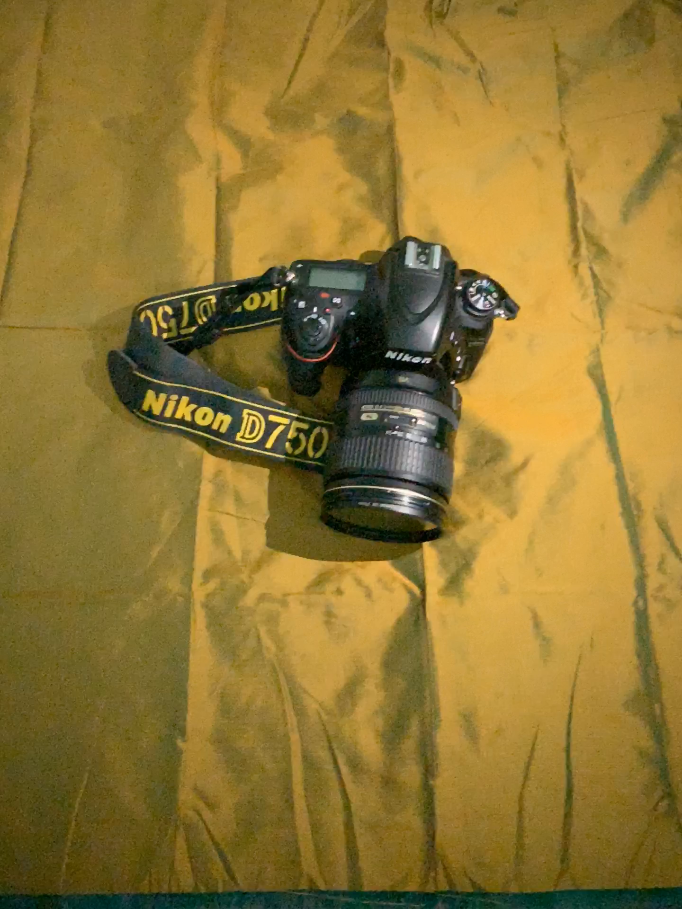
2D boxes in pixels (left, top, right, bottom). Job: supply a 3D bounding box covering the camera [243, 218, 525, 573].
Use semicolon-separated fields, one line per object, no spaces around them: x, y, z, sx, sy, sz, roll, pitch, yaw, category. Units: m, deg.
0.030;-0.035;0.456;0.150;0.101;0.190;6;69;0;camera
